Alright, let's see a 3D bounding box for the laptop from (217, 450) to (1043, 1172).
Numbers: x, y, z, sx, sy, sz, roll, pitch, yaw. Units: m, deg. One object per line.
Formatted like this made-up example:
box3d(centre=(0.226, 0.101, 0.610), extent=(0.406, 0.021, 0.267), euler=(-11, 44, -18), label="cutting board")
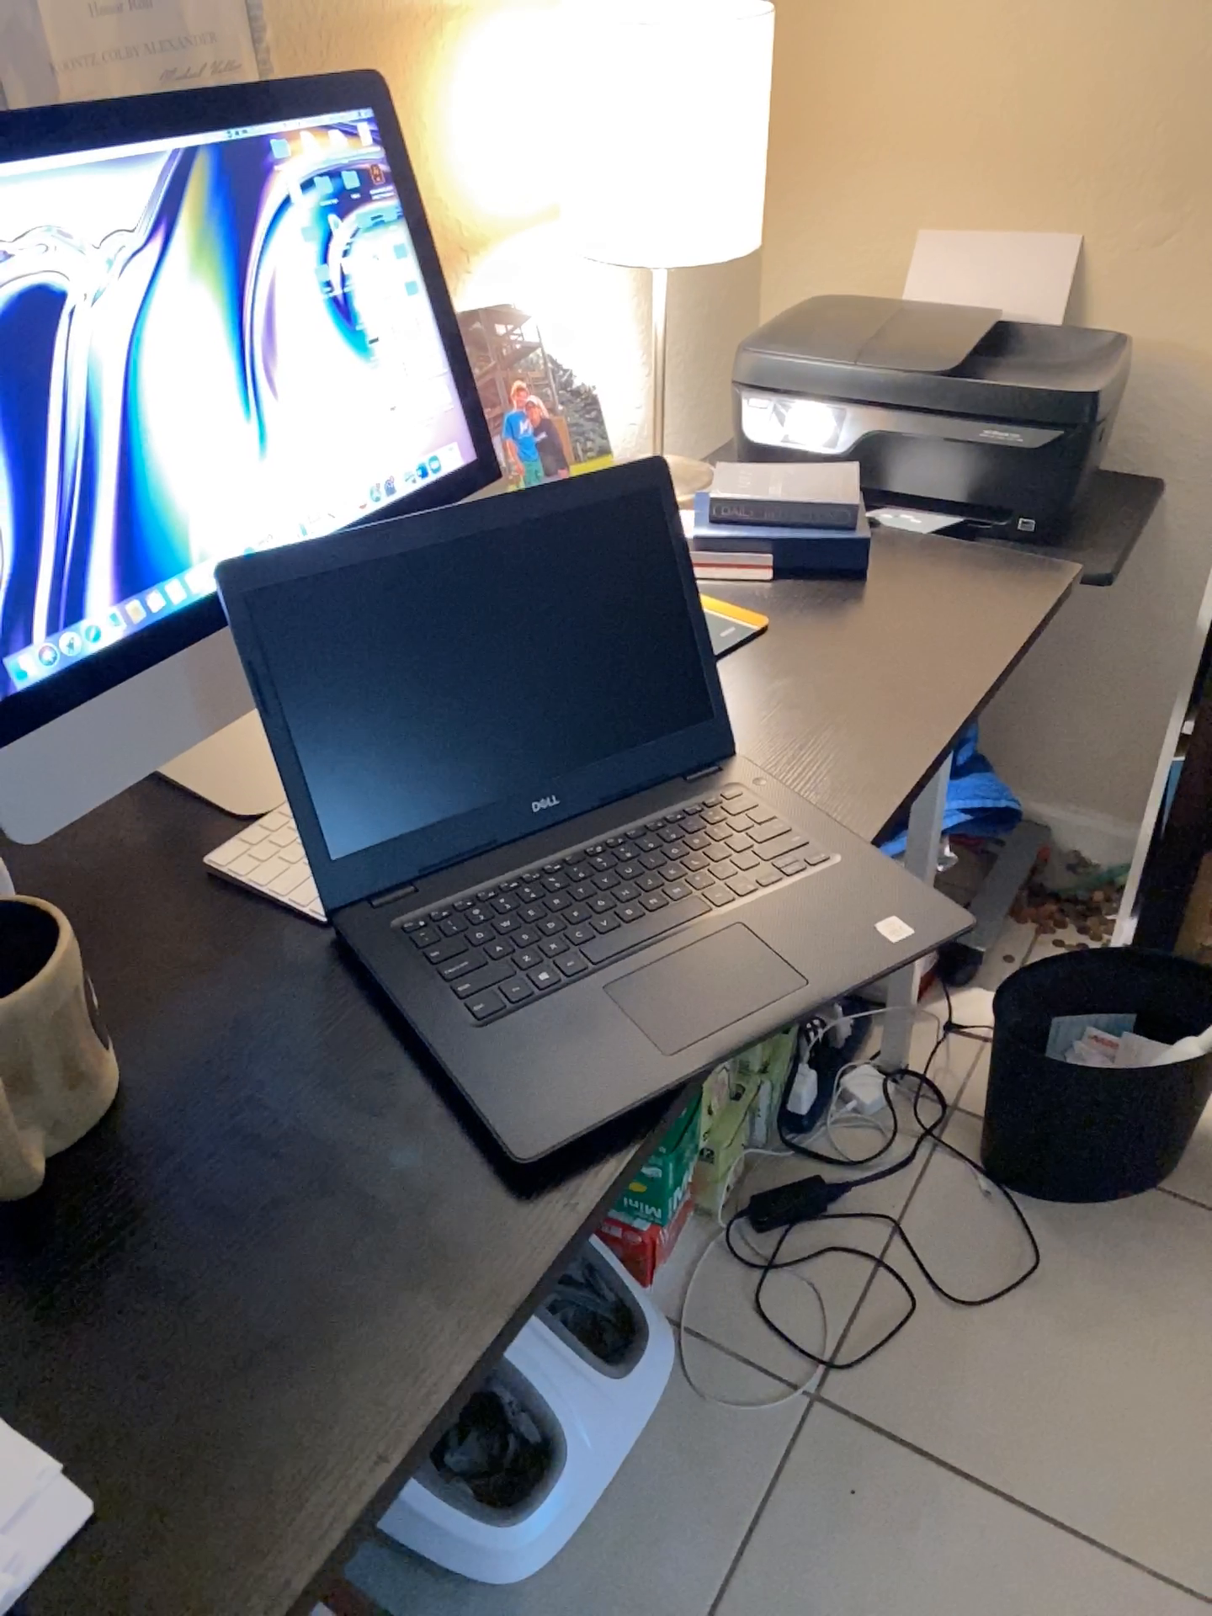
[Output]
box3d(centre=(0.001, -0.037, 0.766), extent=(0.337, 0.206, 0.344), euler=(-22, 40, -26), label="laptop")
